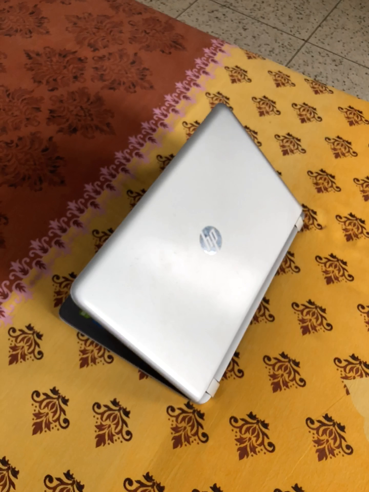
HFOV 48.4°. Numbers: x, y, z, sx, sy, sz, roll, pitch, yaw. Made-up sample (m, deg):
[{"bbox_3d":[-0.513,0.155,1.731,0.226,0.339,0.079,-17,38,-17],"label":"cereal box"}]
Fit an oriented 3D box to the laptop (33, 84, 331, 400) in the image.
[{"bbox_3d":[0.014,-0.021,0.615,0.249,0.155,0.373,29,63,11],"label":"laptop"}]
